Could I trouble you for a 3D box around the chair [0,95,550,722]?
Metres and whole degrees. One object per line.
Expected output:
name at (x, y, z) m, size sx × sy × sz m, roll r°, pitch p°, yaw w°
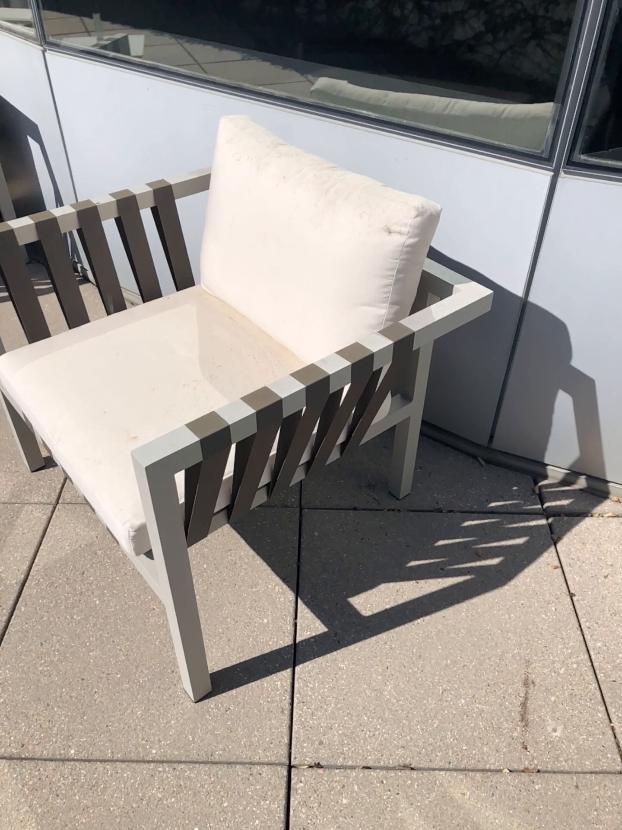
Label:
chair at (-0.185, -0.110, 1.440) m, size 0.781 × 0.736 × 0.873 m, roll -27°, pitch 47°, yaw -29°
